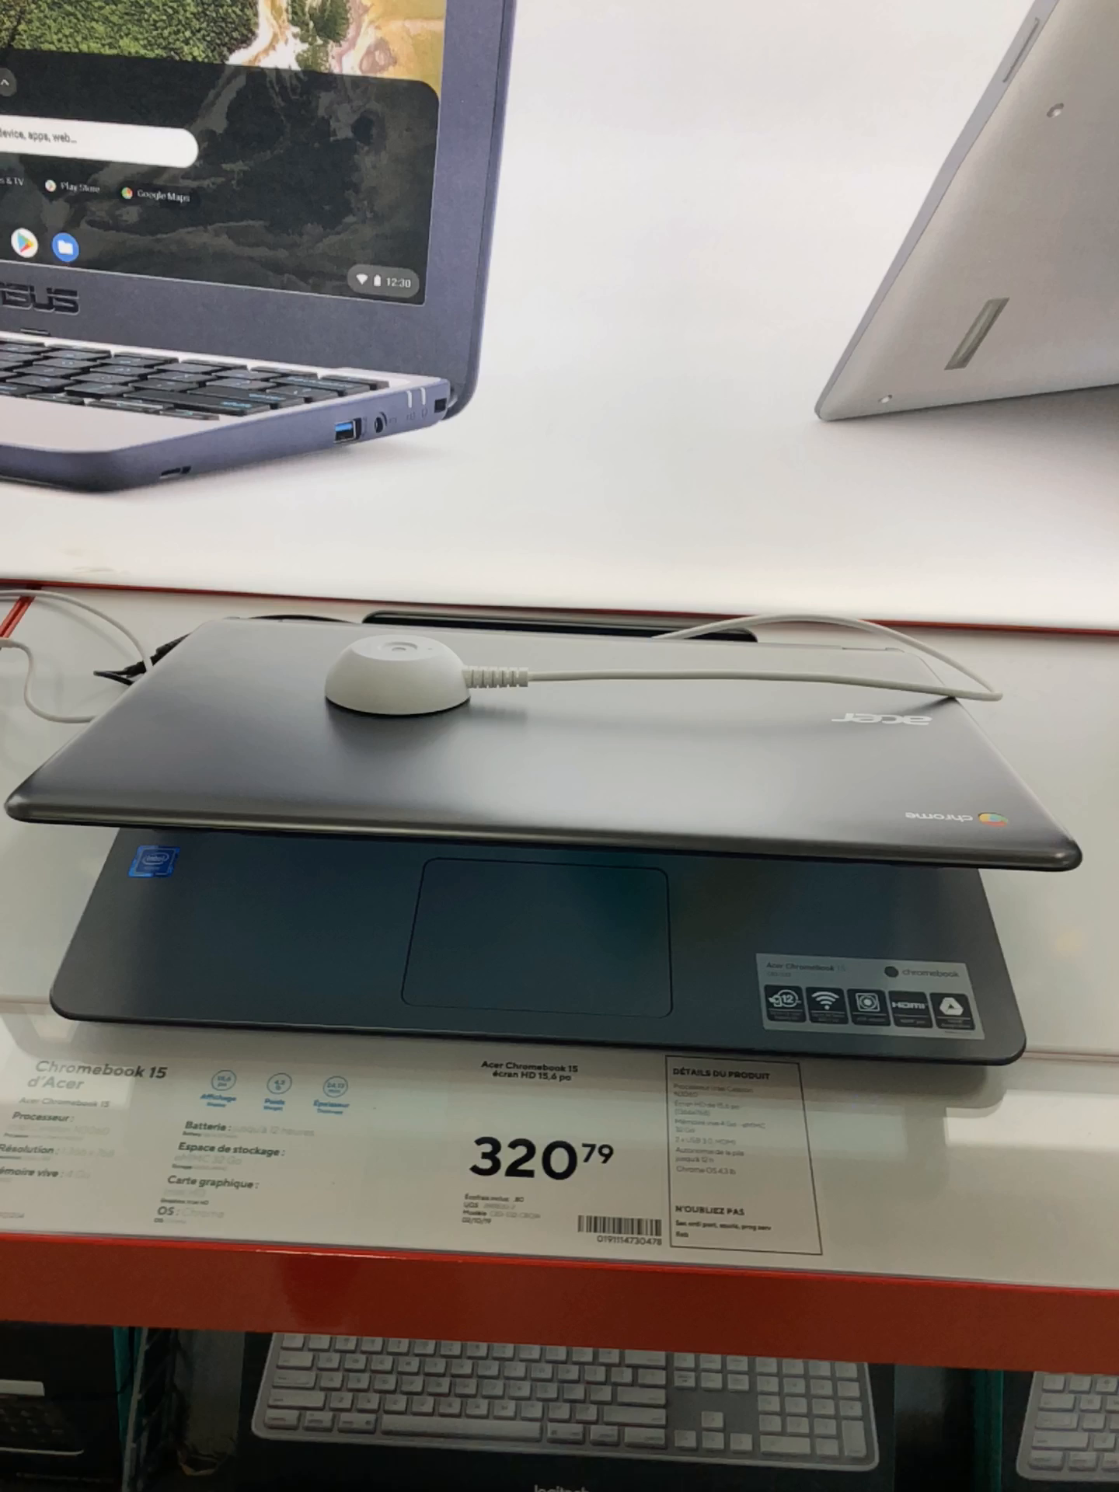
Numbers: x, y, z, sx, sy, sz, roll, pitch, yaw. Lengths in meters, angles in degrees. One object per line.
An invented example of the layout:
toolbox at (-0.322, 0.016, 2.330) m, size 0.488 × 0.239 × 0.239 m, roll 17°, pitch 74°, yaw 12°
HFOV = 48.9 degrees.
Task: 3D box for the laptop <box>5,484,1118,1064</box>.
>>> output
laptop at (0.001, -0.005, 0.530) m, size 0.369 × 0.088 × 0.249 m, roll 3°, pitch 40°, yaw 2°
